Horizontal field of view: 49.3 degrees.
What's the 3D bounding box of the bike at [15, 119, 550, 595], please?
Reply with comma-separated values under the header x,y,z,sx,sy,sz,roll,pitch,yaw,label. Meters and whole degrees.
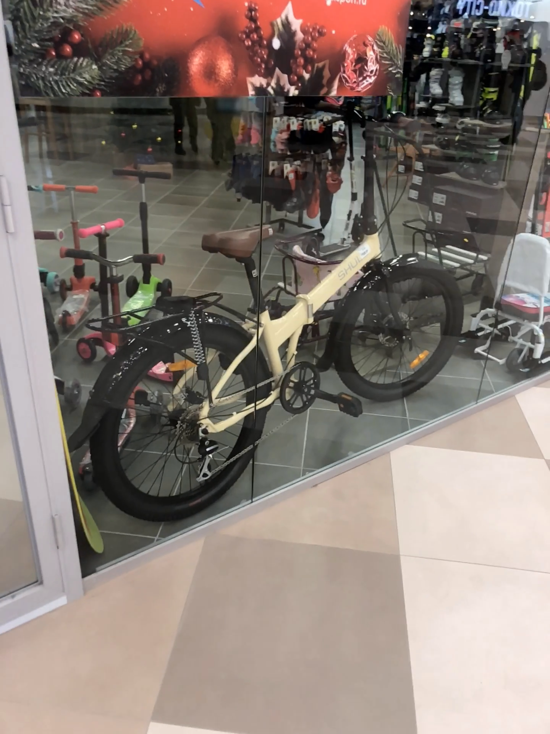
x,y,z,sx,sy,sz,roll,pitch,yaw,label
0.224,-0.193,2.076,1.706,1.175,0.594,-18,33,-37,bike
